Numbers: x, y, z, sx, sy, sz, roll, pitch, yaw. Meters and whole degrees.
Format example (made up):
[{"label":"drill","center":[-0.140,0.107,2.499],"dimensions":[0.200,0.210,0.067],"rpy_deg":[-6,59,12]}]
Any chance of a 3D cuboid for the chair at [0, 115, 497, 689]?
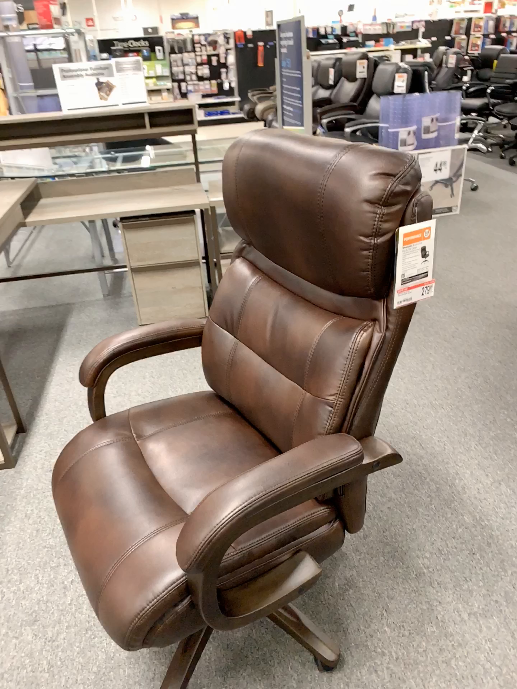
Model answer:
[{"label":"chair","center":[-0.102,0.154,1.157],"dimensions":[0.701,1.094,0.713],"rpy_deg":[-20,33,-26]}]
